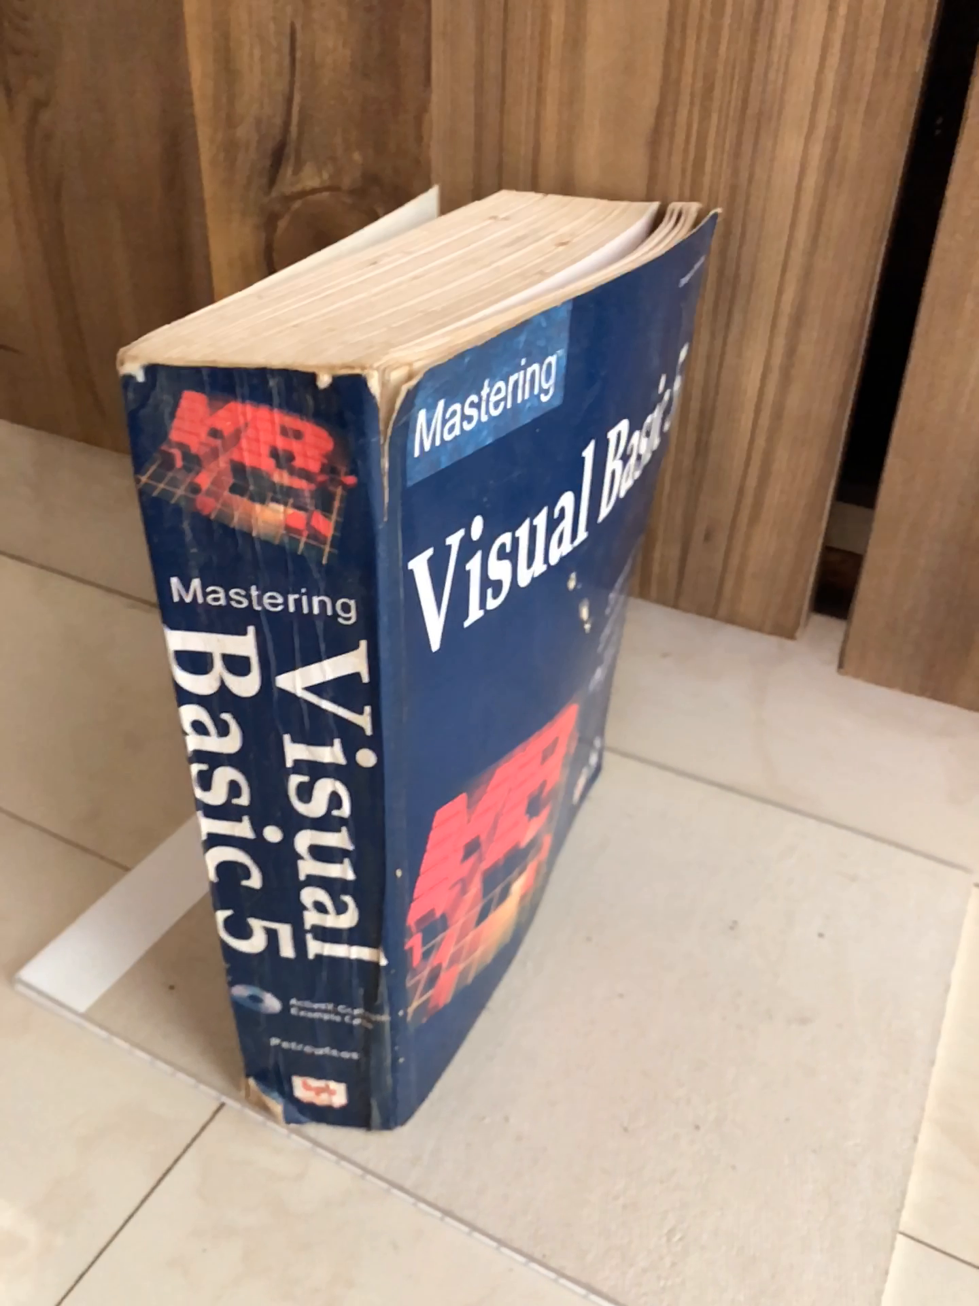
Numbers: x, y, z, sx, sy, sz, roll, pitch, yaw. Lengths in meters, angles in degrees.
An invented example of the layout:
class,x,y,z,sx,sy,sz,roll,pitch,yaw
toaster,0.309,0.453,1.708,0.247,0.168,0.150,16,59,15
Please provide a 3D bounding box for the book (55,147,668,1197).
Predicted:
class,x,y,z,sx,sy,sz,roll,pitch,yaw
book,-0.010,-0.006,0.343,0.060,0.249,0.211,12,35,20
